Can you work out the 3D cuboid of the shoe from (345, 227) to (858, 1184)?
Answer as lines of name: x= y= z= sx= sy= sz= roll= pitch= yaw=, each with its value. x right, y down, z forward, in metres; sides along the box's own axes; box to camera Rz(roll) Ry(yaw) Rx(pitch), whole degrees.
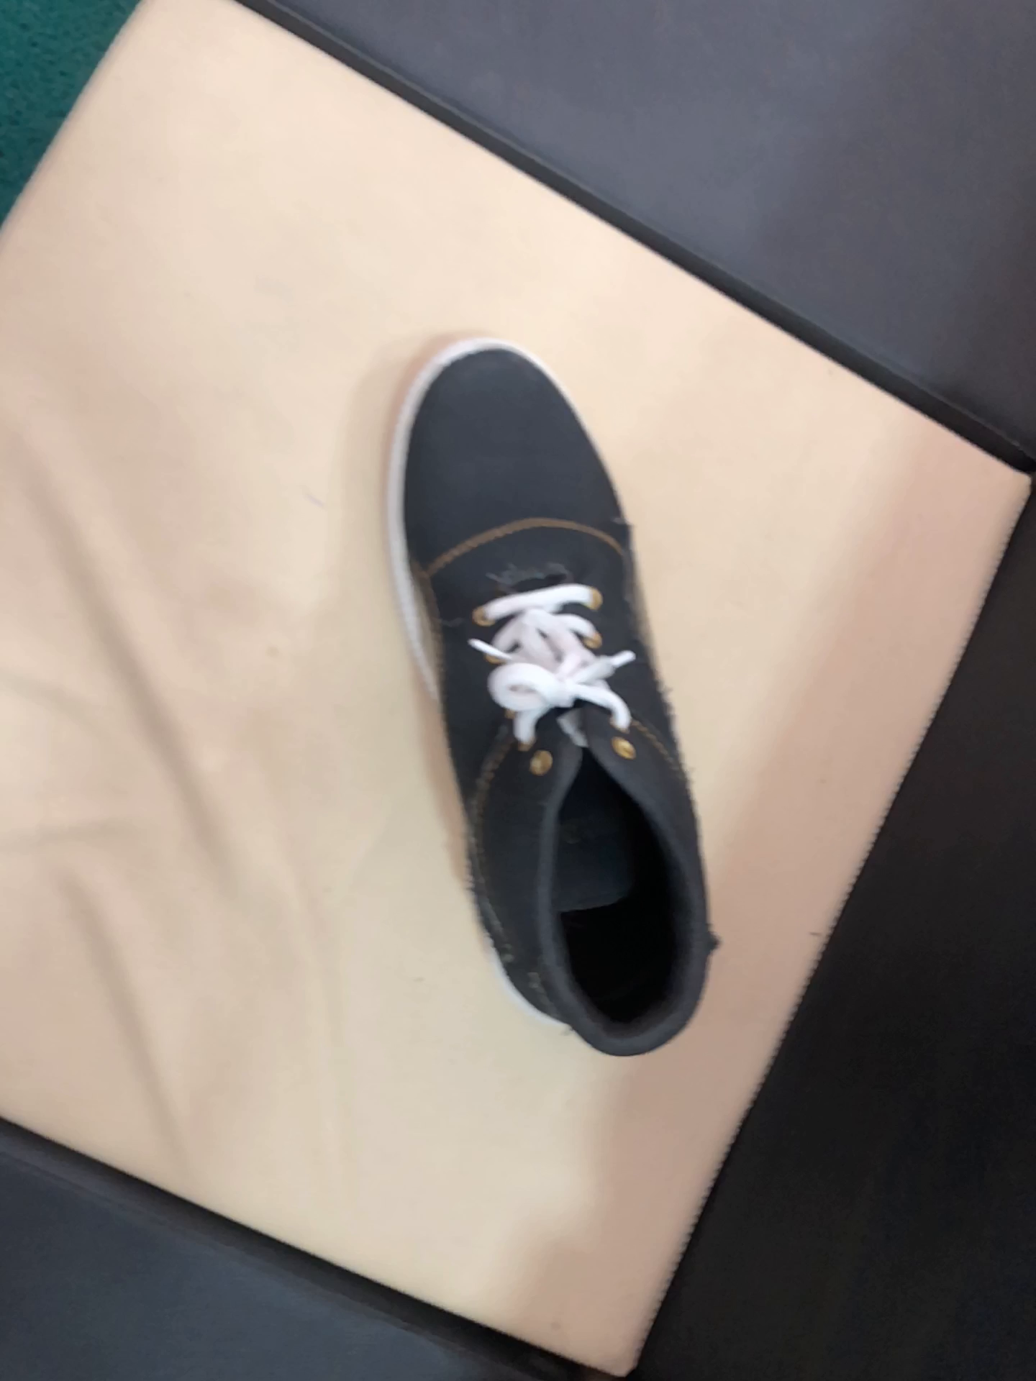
shoe: x=0.022 y=0.004 z=0.434 sx=0.100 sy=0.110 sz=0.300 roll=-14 pitch=90 yaw=-11
